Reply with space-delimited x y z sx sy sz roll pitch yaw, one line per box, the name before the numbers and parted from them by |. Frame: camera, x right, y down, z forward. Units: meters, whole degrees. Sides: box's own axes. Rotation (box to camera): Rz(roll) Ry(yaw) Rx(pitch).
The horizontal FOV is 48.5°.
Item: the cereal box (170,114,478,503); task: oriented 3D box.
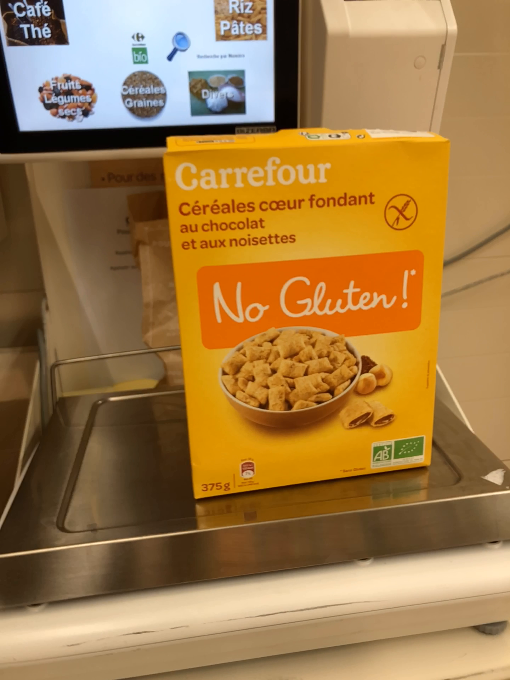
cereal box | 0.048 -0.022 0.429 0.200 0.269 0.060 -5 19 -8
